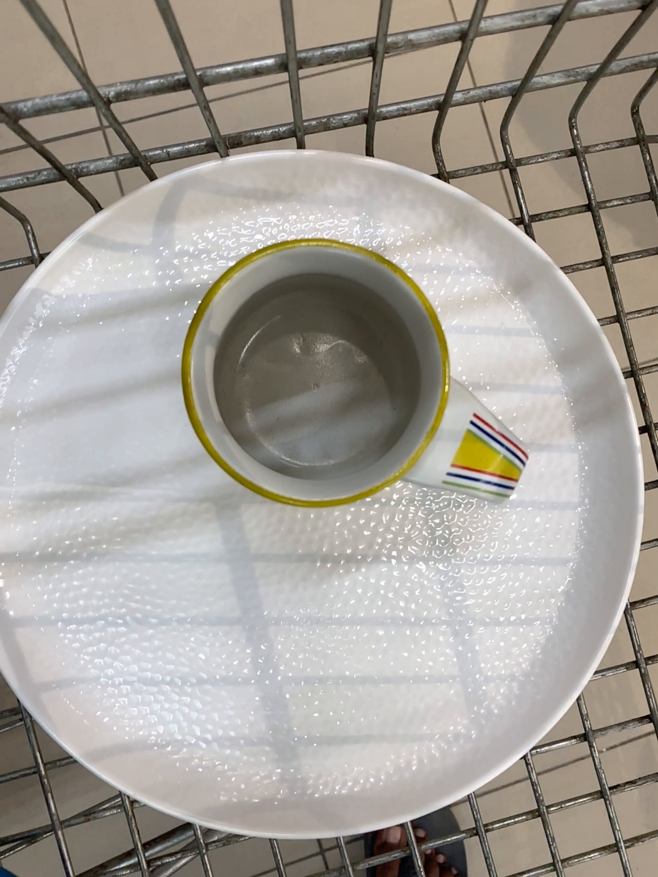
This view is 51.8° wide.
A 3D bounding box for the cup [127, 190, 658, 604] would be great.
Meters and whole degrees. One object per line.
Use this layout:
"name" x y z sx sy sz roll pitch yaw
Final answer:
"cup" 0.015 -0.008 0.207 0.120 0.100 0.080 8 89 -5
